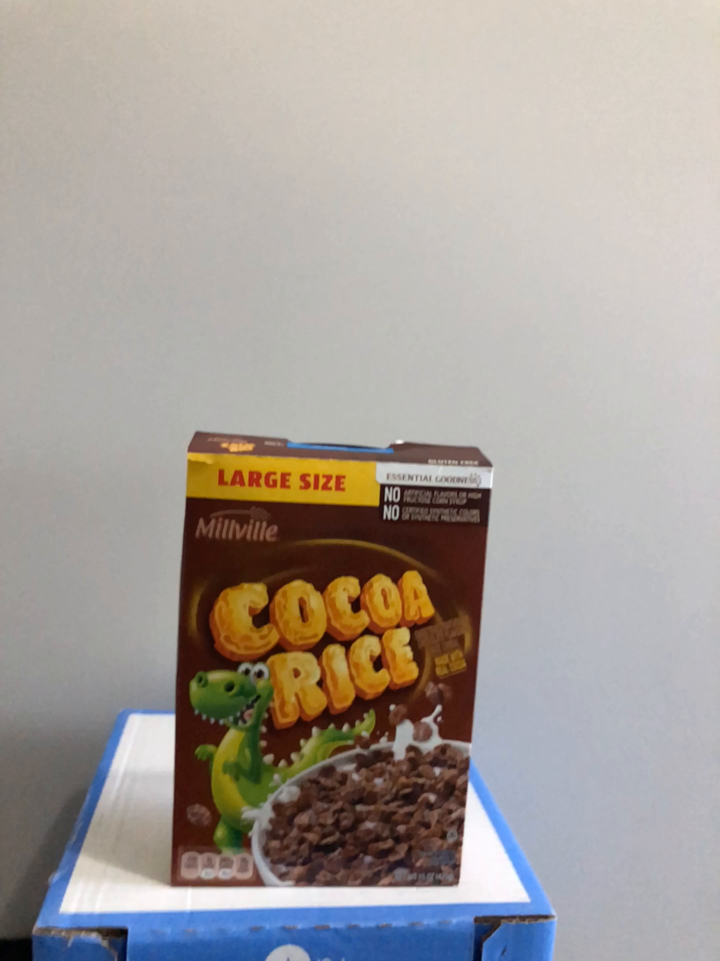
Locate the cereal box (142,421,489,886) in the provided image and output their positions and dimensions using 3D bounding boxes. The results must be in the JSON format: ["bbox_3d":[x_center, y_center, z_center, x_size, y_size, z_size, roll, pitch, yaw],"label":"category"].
[{"bbox_3d":[-0.032,0.113,0.530,0.200,0.290,0.060,3,7,-6],"label":"cereal box"}]
